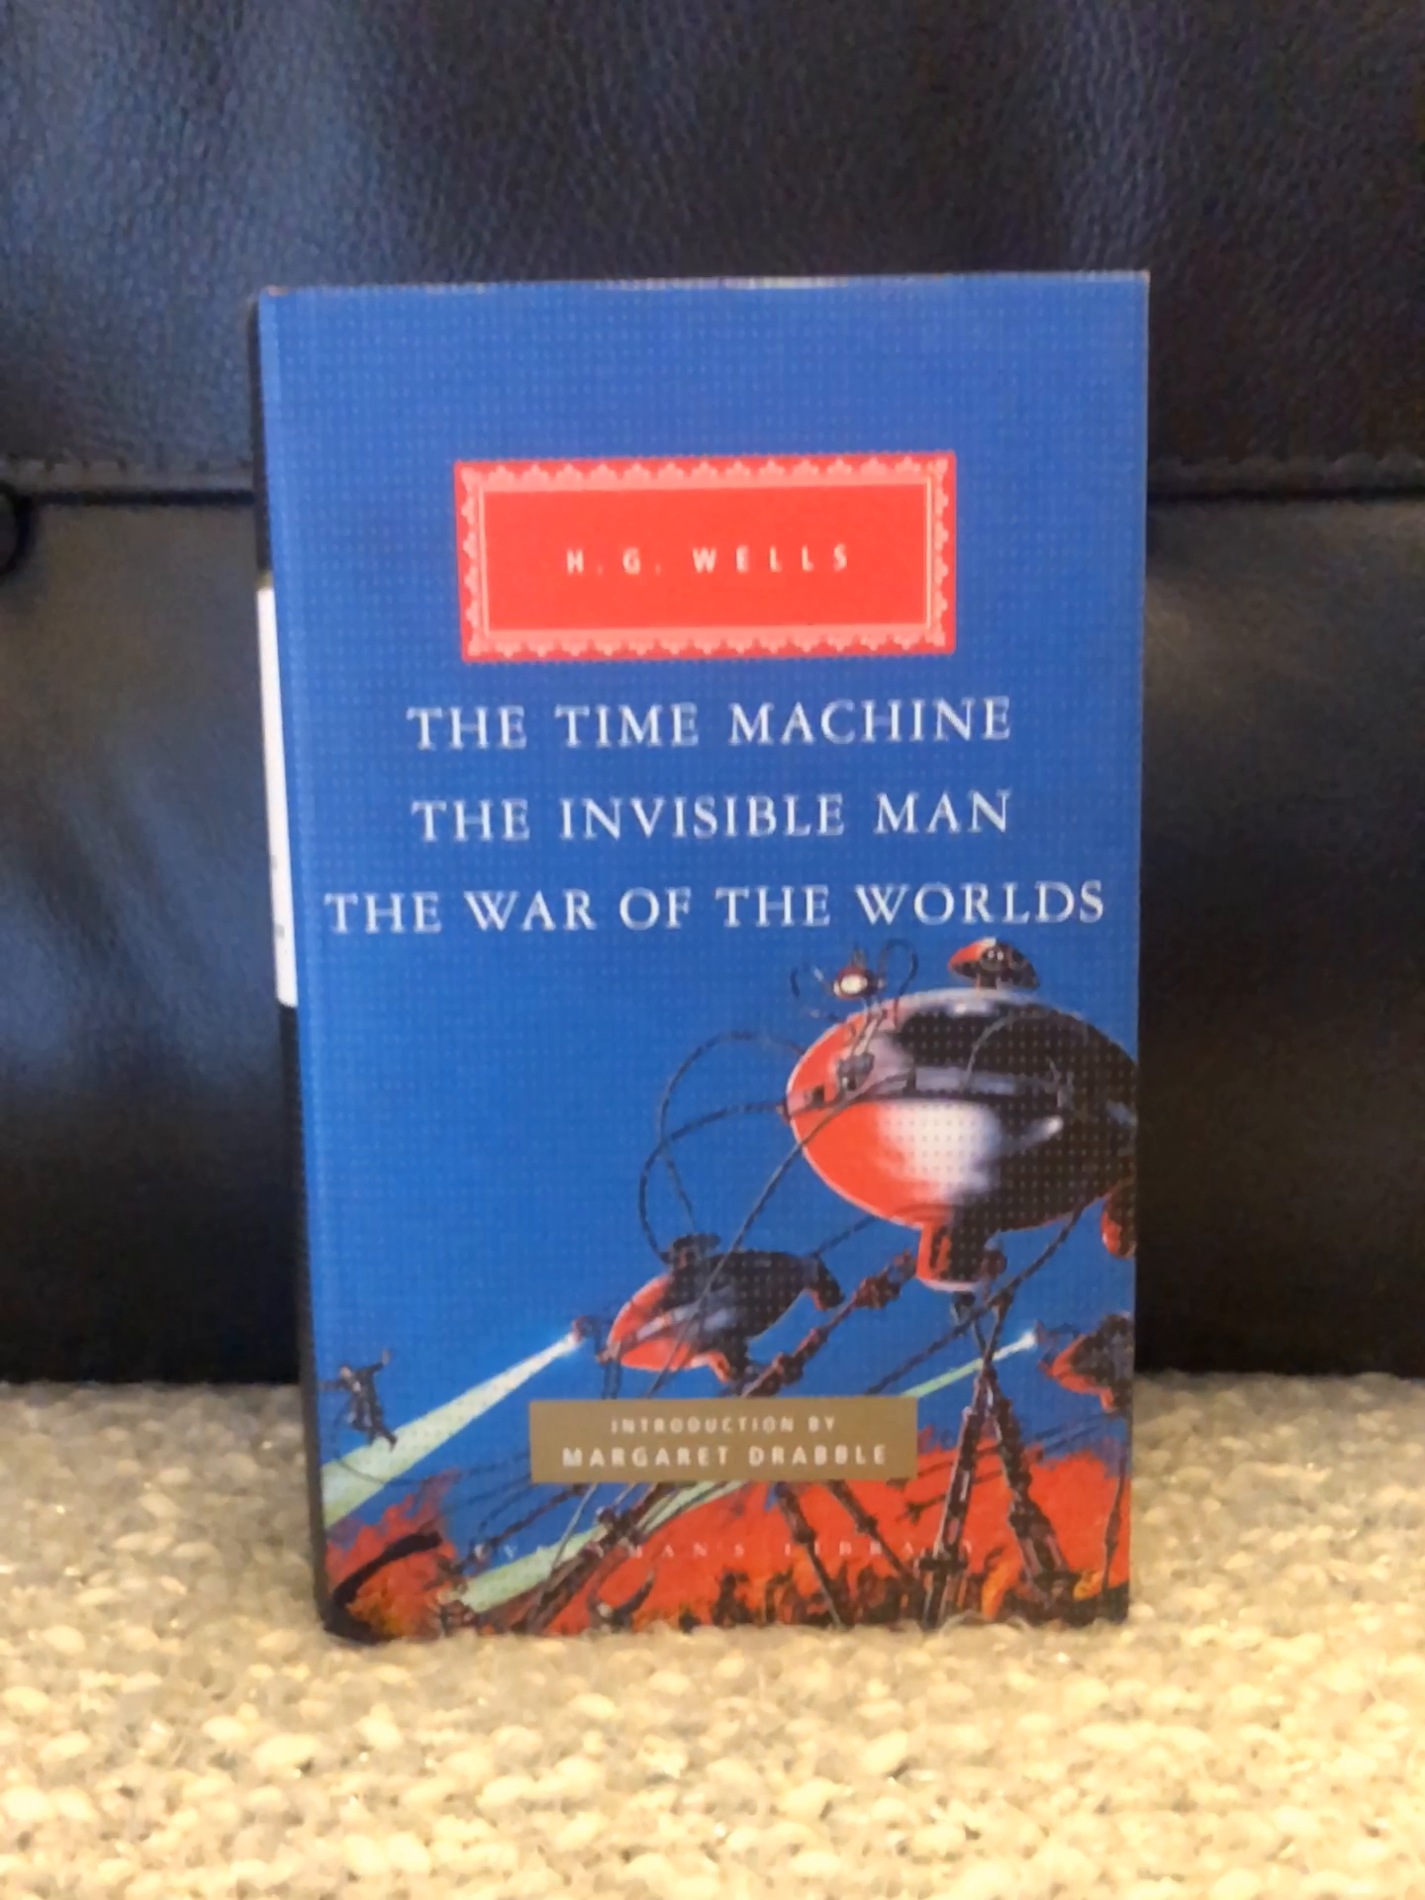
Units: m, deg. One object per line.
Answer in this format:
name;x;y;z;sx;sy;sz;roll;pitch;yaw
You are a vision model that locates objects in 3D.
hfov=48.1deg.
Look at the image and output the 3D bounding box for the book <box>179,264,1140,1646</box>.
book;-0.006;0.005;0.278;0.148;0.226;0.034;-1;8;-1
